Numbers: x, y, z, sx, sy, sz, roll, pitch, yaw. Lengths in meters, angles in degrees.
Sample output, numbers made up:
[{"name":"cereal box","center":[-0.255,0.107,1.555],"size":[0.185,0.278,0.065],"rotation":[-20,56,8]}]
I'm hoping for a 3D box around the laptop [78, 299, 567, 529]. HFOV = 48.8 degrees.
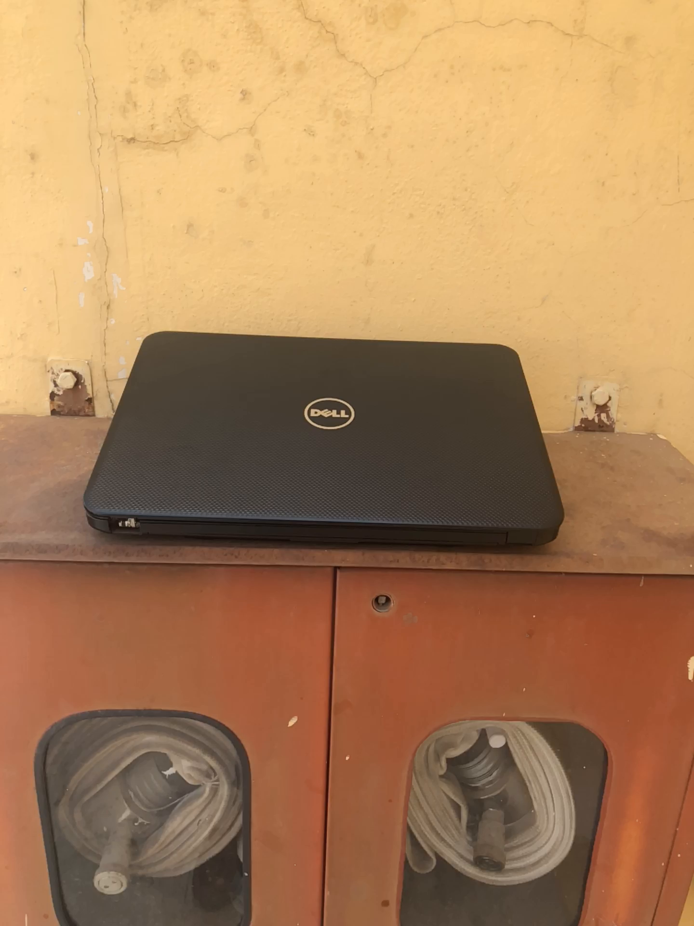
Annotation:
[{"name":"laptop","center":[-0.016,-0.050,0.645],"size":[0.352,0.098,0.184],"rotation":[1,31,-1]}]
